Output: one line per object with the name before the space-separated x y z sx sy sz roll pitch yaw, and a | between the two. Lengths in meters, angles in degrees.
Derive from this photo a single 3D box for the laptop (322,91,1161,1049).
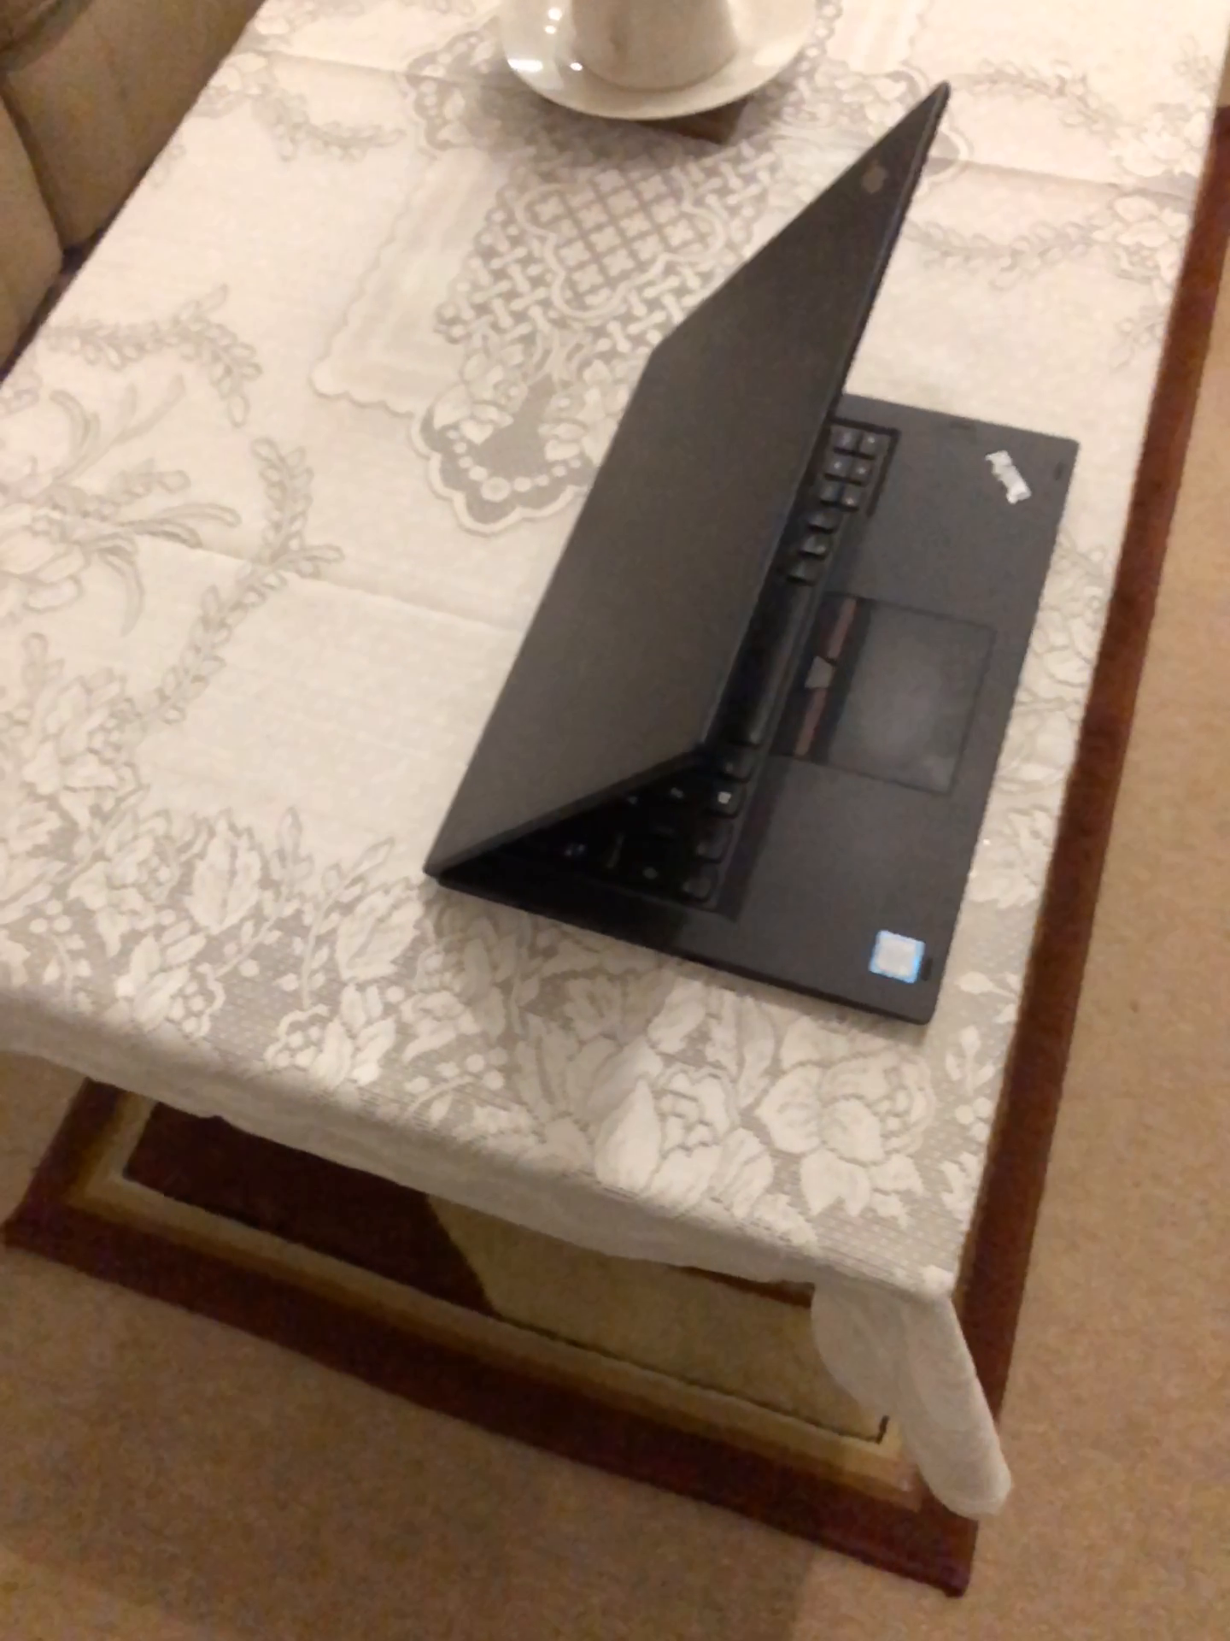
laptop | 0.064 -0.107 0.575 0.220 0.174 0.309 17 67 12
